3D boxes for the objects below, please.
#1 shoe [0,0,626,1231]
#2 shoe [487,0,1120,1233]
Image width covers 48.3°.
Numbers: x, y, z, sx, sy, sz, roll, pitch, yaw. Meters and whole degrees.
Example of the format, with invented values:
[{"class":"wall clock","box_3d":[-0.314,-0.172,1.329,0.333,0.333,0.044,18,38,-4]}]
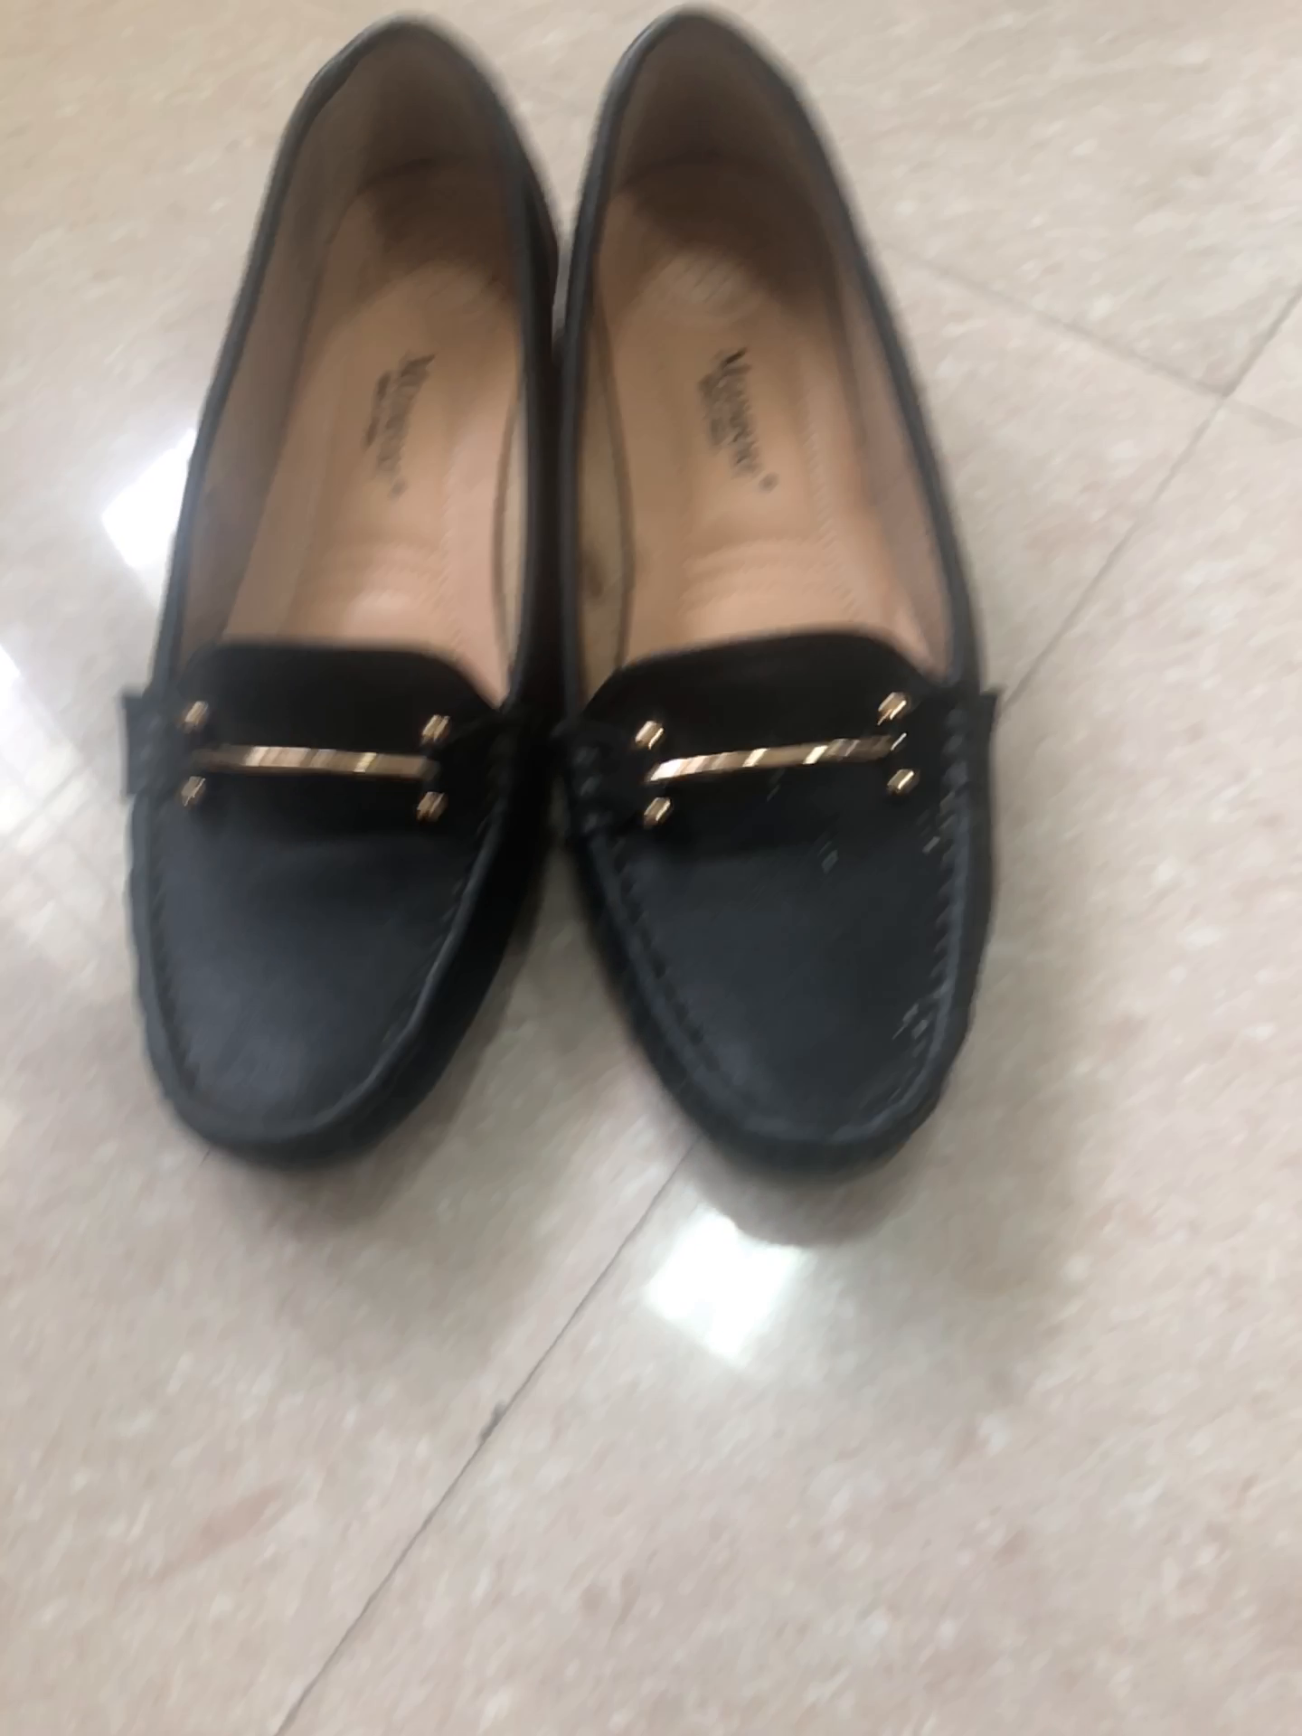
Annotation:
[{"class":"shoe","box_3d":[-0.065,-0.079,0.348,0.100,0.080,0.310,1,64,3]},{"class":"shoe","box_3d":[0.019,-0.081,0.349,0.100,0.080,0.310,-5,63,0]}]
